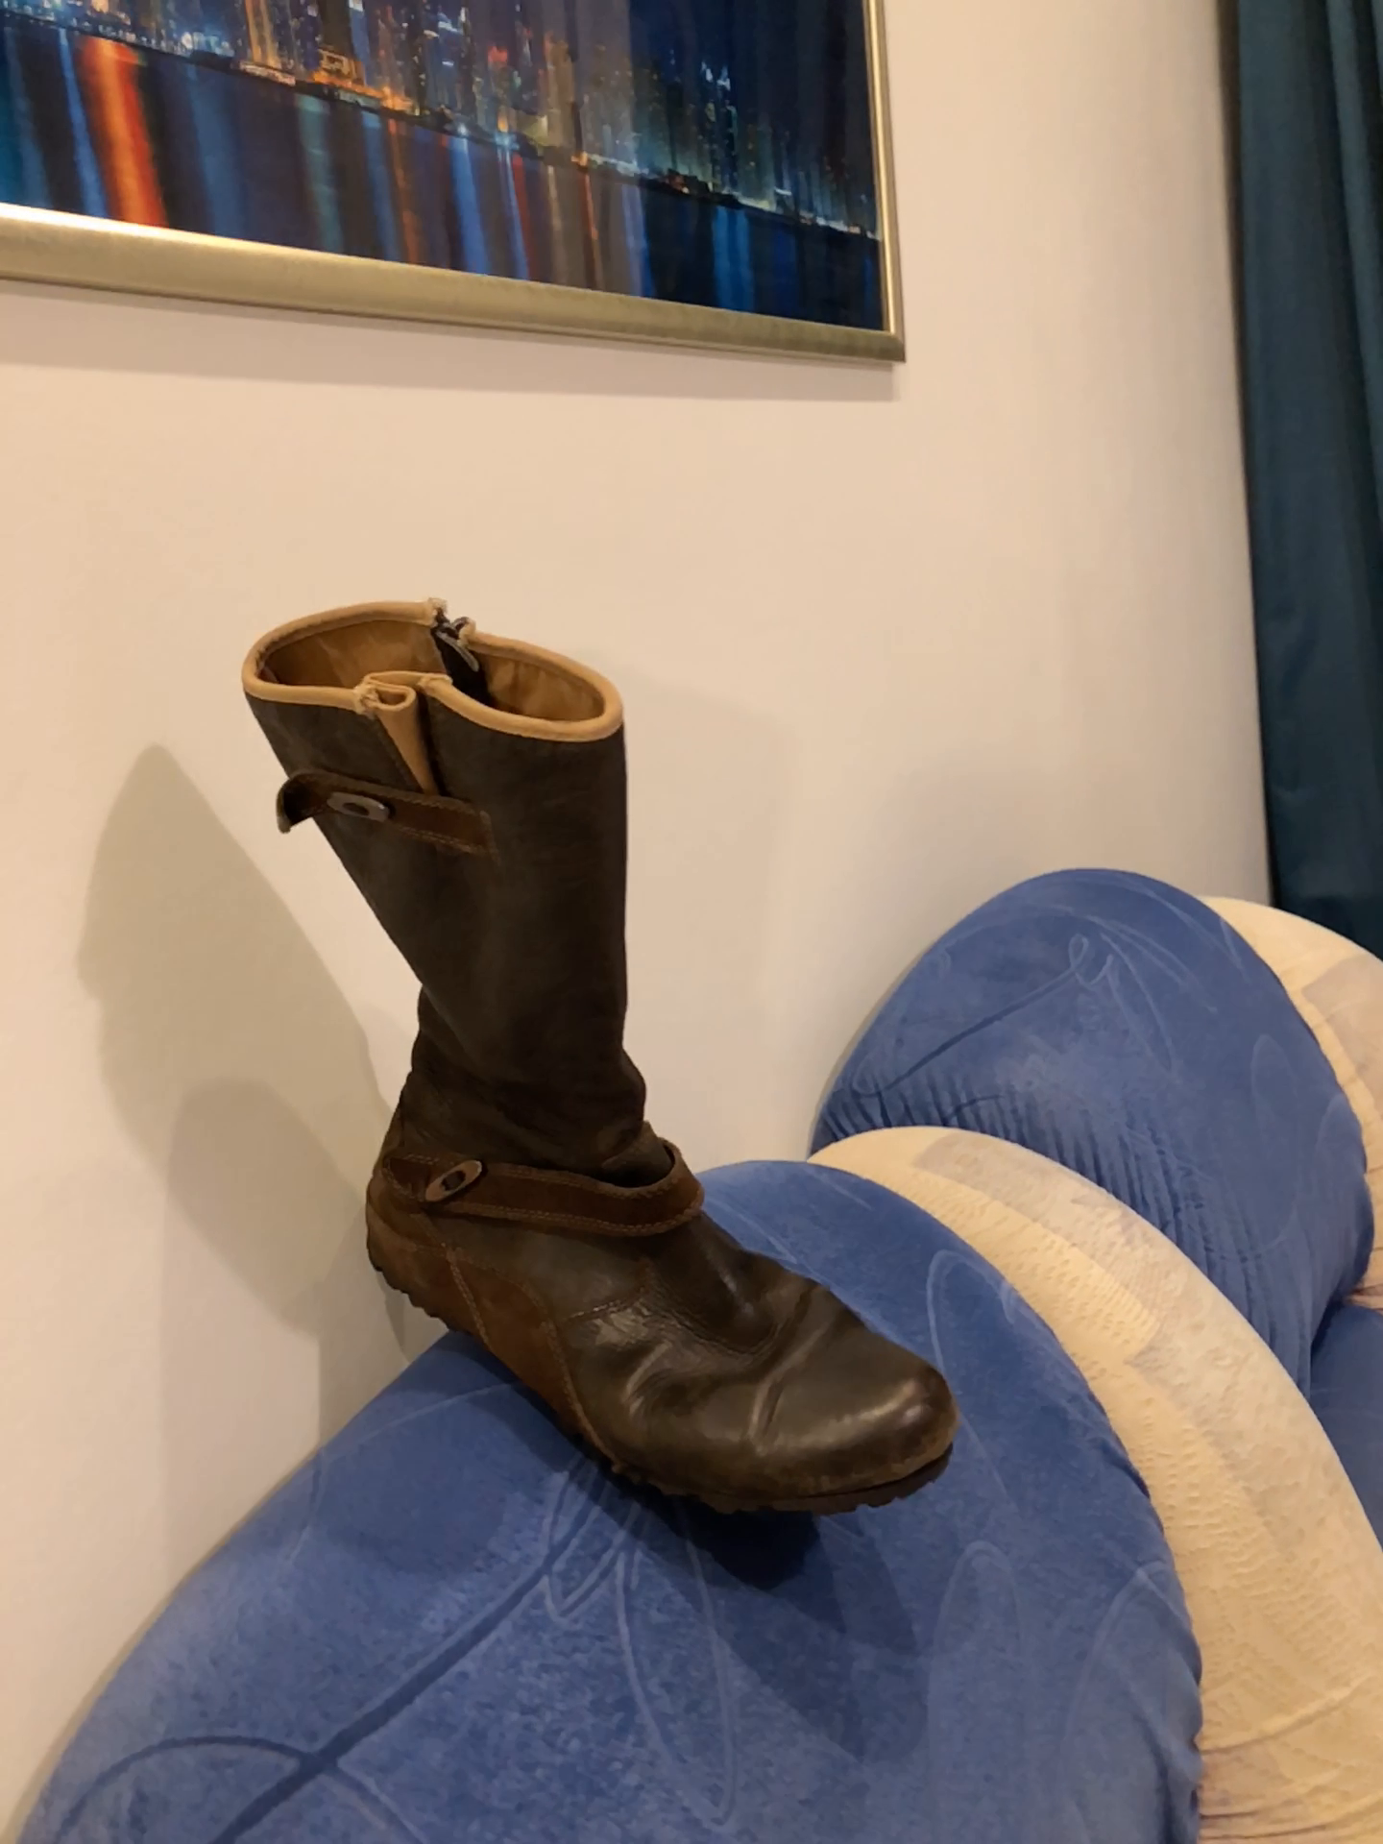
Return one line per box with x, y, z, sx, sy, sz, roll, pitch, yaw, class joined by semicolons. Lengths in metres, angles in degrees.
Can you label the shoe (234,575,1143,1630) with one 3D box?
-0.019;0.048;0.544;0.271;0.278;0.110;19;24;24;shoe
